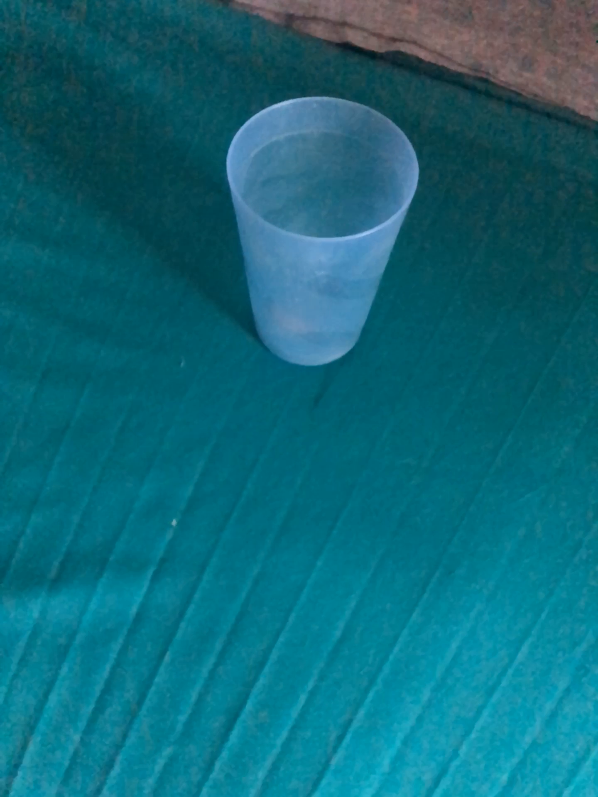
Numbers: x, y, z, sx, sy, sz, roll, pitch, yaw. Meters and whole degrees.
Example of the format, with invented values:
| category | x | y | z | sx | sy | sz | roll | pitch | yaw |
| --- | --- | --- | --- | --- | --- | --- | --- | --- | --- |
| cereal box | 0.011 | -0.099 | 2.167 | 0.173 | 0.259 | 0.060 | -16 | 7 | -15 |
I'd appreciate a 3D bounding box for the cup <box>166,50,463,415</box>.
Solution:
| category | x | y | z | sx | sy | sz | roll | pitch | yaw |
| --- | --- | --- | --- | --- | --- | --- | --- | --- | --- |
| cup | 0.005 | -0.060 | 0.277 | 0.078 | 0.119 | 0.066 | 27 | 69 | 9 |
